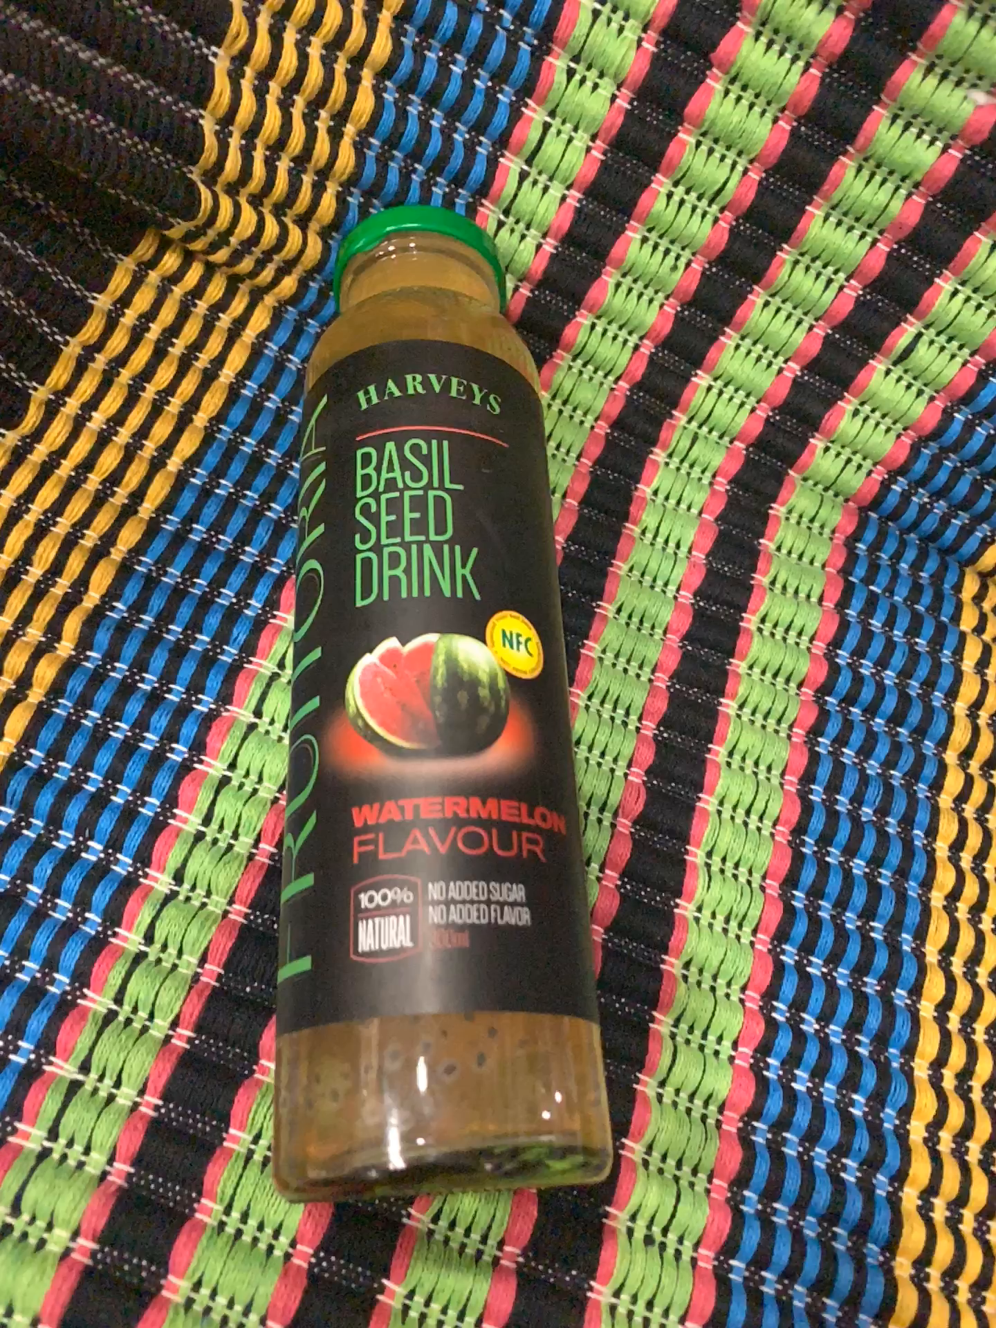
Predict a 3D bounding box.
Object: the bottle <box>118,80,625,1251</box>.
[{"bbox_3d":[-0.017,-0.010,0.191,0.060,0.060,0.200,-4,65,3],"label":"bottle"}]
